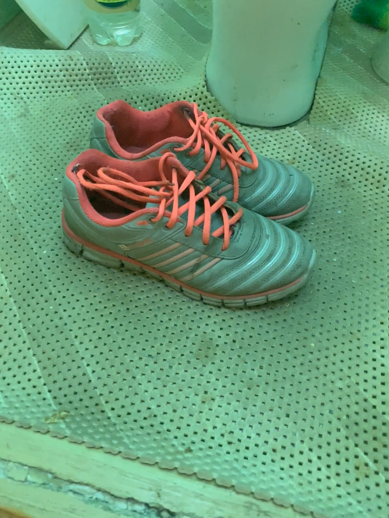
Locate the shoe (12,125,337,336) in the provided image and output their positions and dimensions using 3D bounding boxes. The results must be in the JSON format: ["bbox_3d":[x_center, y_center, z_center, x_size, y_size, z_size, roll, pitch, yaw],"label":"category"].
[{"bbox_3d":[-0.014,-0.031,0.392,0.268,0.089,0.111,16,56,8],"label":"shoe"}]

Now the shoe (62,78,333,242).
[{"bbox_3d":[0.008,-0.115,0.458,0.270,0.089,0.111,11,56,5],"label":"shoe"}]
